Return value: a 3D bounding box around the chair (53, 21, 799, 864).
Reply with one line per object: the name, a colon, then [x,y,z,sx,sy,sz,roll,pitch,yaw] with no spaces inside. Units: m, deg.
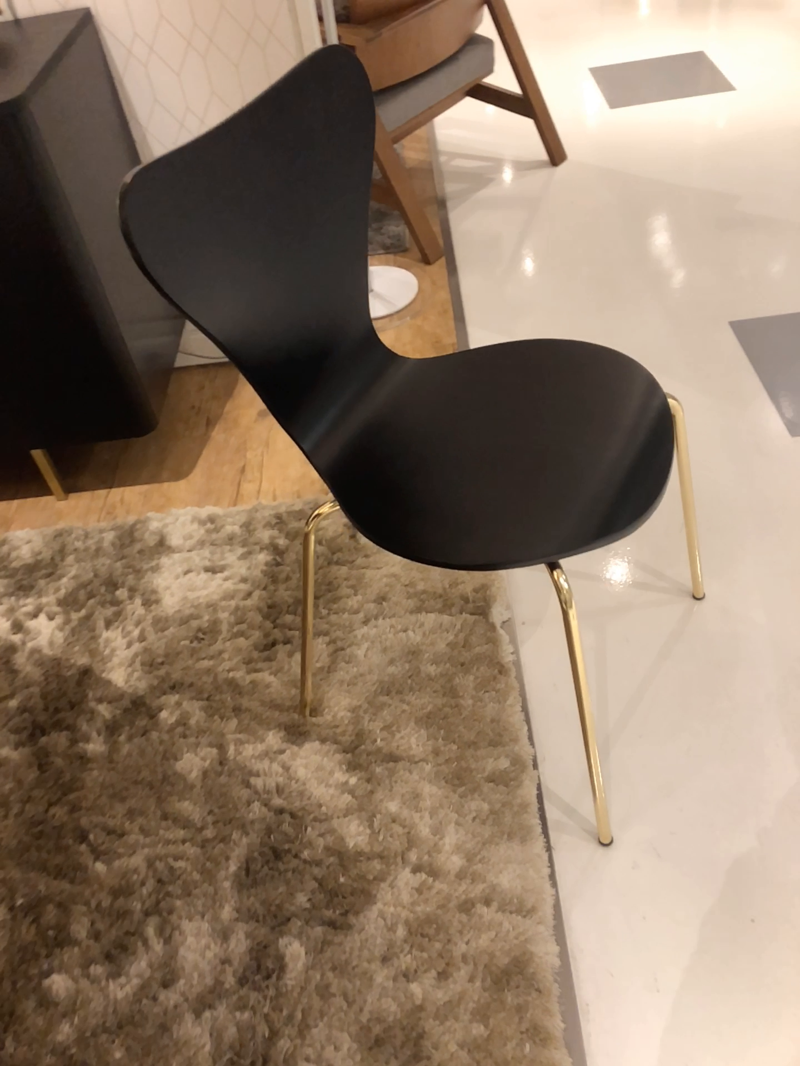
chair: [0.096,-0.102,1.034,0.501,0.754,0.503,16,50,24]
